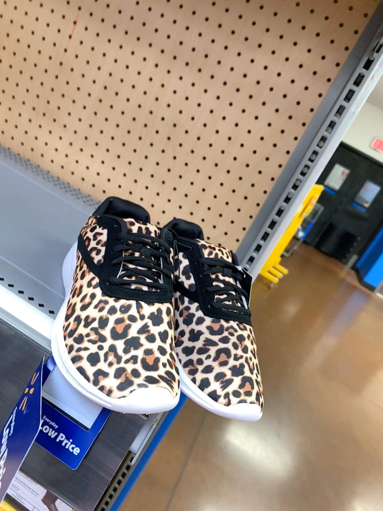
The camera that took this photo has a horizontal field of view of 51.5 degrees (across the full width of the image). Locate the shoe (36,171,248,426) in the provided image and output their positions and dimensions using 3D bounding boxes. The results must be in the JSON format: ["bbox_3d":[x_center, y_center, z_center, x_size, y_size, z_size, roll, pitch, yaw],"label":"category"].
[{"bbox_3d":[-0.061,0.021,0.374,0.119,0.091,0.241,18,23,-25],"label":"shoe"}]

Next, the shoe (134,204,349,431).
[{"bbox_3d":[0.030,0.050,0.423,0.110,0.091,0.241,17,23,-29],"label":"shoe"}]
